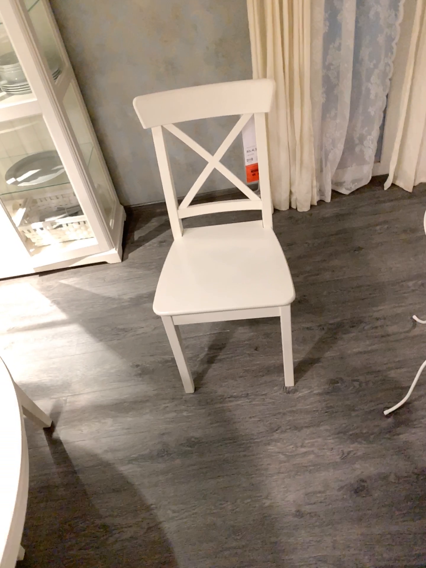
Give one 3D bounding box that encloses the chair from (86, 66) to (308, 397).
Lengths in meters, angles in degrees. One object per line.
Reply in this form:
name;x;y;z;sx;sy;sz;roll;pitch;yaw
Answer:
chair;0.018;-0.122;1.338;0.450;0.807;0.542;-6;44;5
